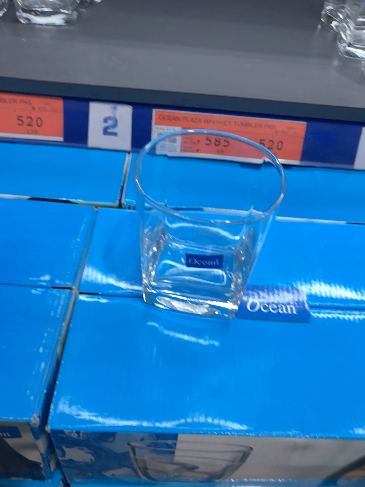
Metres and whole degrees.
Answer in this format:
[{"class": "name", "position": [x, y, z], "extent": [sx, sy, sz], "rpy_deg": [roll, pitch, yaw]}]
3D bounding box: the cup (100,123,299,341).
[{"class": "cup", "position": [0.009, -0.008, 0.243], "extent": [0.090, 0.080, 0.090], "rpy_deg": [3, 44, -3]}]
